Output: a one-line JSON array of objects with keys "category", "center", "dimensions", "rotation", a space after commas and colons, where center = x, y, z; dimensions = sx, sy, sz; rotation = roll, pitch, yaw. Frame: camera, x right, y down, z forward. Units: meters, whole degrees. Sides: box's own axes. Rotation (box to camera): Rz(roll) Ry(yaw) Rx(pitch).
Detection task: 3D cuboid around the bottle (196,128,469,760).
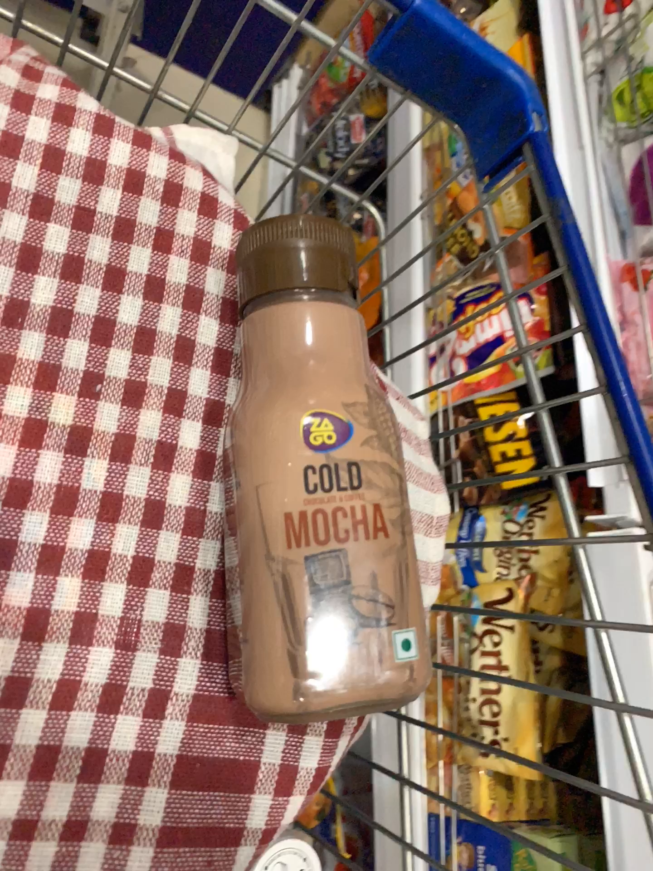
[{"category": "bottle", "center": [-0.006, 0.001, 0.220], "dimensions": [0.060, 0.070, 0.170], "rotation": [-1, 79, -17]}]
